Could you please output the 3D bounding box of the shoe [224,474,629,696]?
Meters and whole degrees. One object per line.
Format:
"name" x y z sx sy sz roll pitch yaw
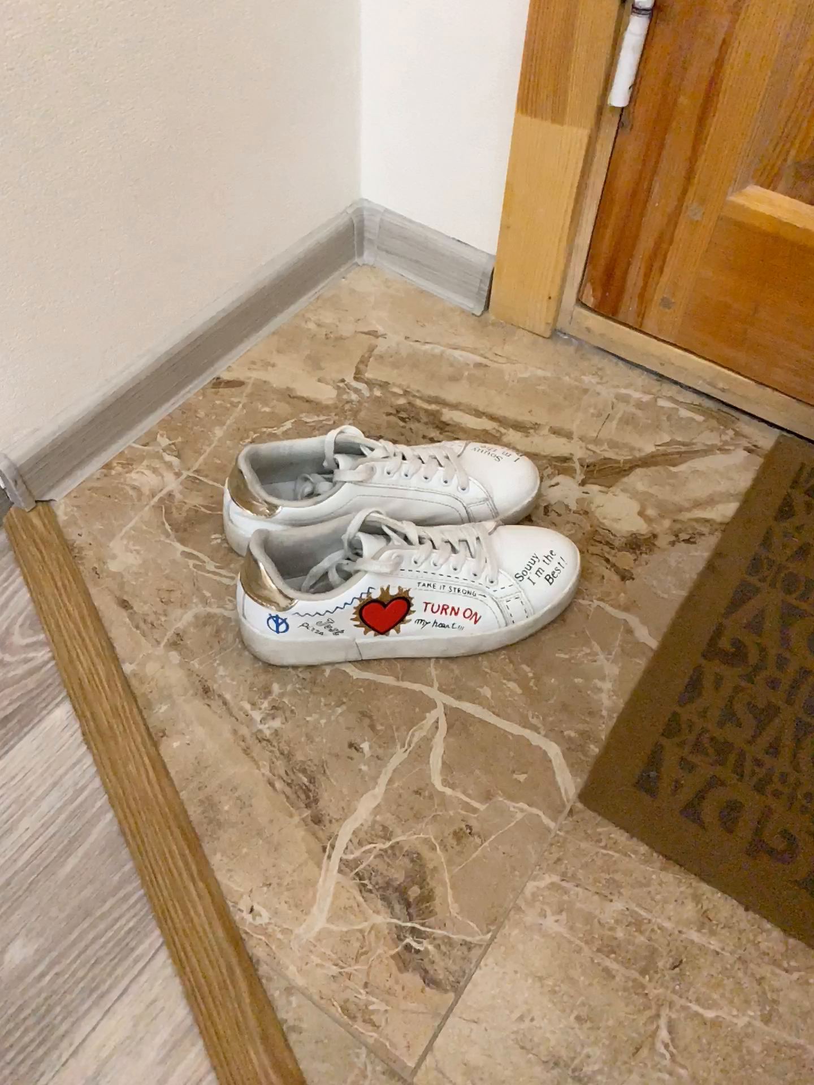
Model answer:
"shoe" 0.009 0.028 0.587 0.256 0.080 0.093 -8 52 -9

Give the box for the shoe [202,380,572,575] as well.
"shoe" -0.018 -0.052 0.636 0.256 0.080 0.093 -7 52 -8
